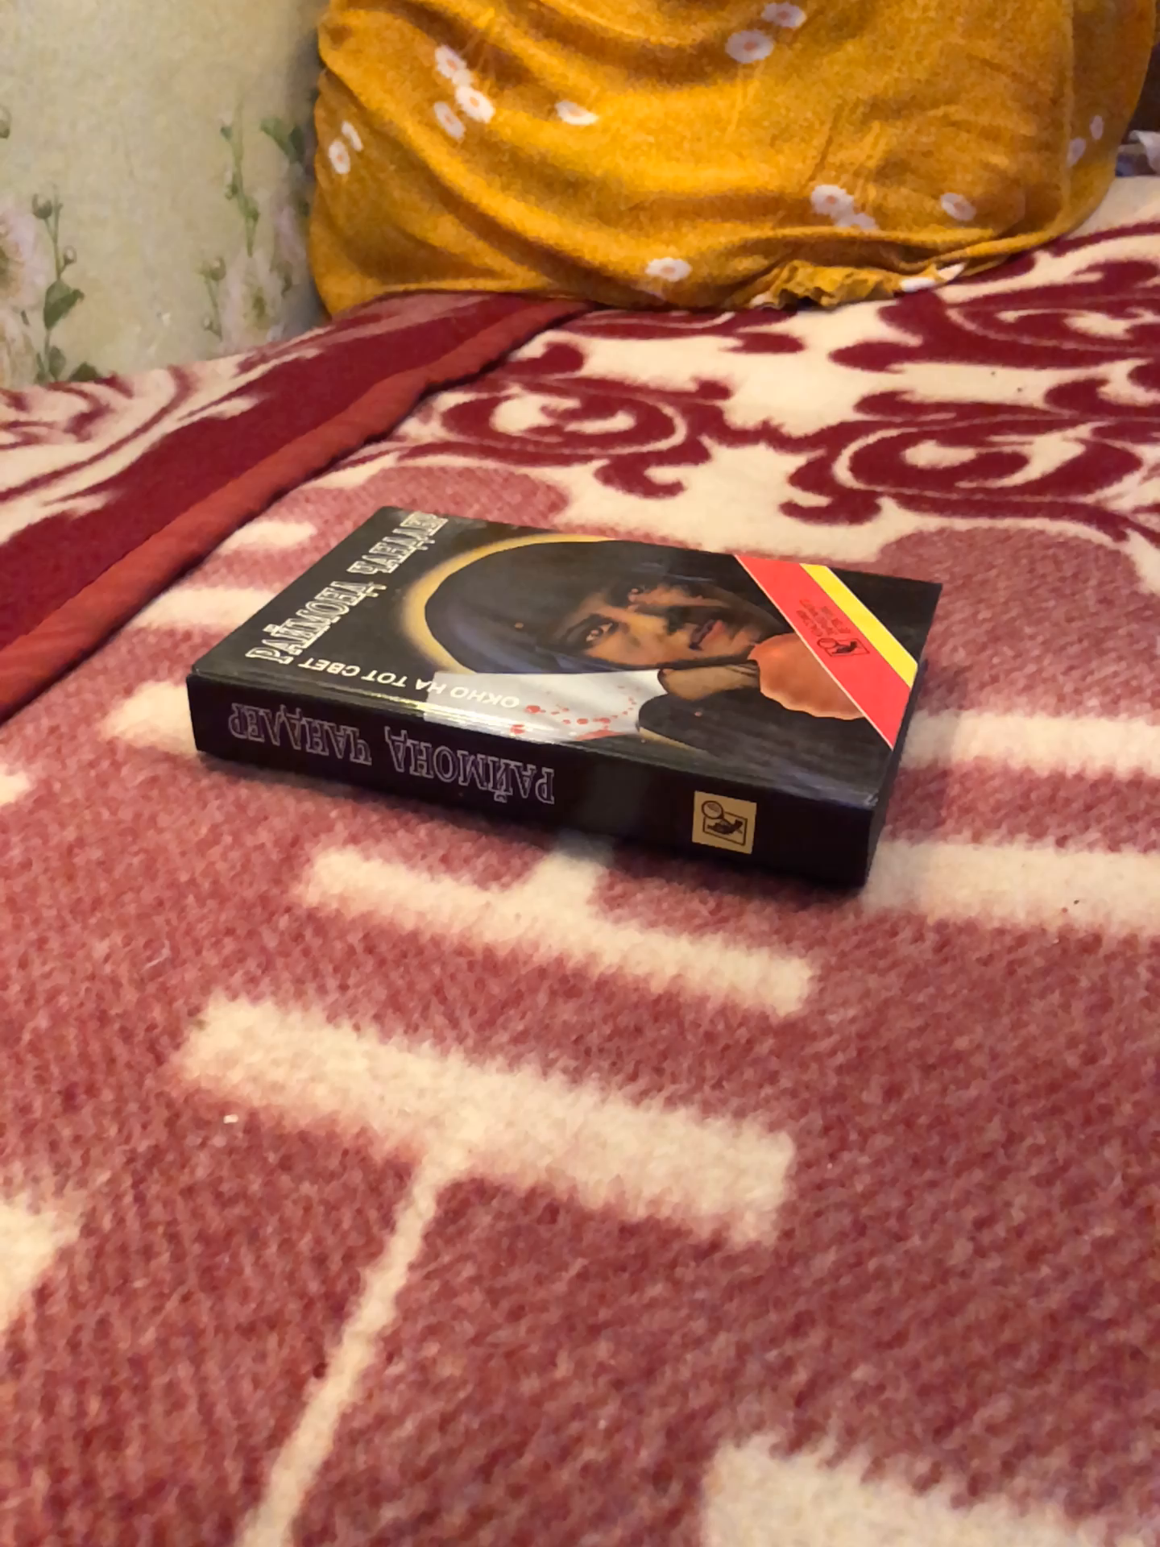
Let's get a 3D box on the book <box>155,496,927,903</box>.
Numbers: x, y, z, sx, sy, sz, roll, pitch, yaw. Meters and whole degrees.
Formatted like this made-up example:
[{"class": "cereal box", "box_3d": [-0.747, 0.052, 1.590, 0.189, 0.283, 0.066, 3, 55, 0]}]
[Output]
[{"class": "book", "box_3d": [-0.005, -0.035, 0.413, 0.208, 0.032, 0.134, 12, 36, 16]}]
